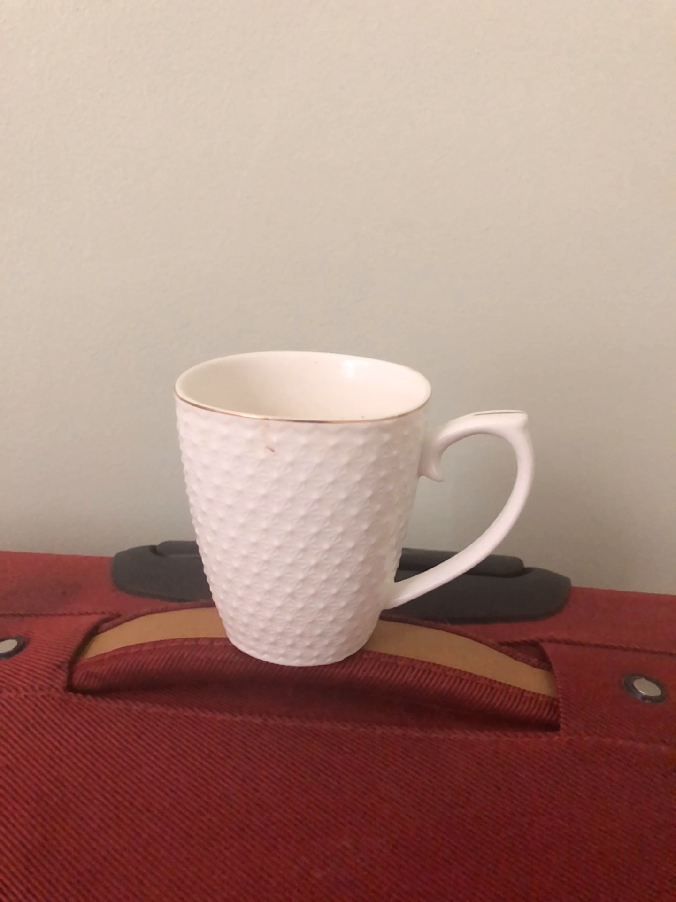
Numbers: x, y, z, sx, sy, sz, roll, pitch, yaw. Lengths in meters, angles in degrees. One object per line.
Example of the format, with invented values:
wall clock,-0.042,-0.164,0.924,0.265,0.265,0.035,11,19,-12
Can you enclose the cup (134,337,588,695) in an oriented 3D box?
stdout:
cup,0.004,0.015,0.235,0.111,0.084,0.075,-1,22,-2
